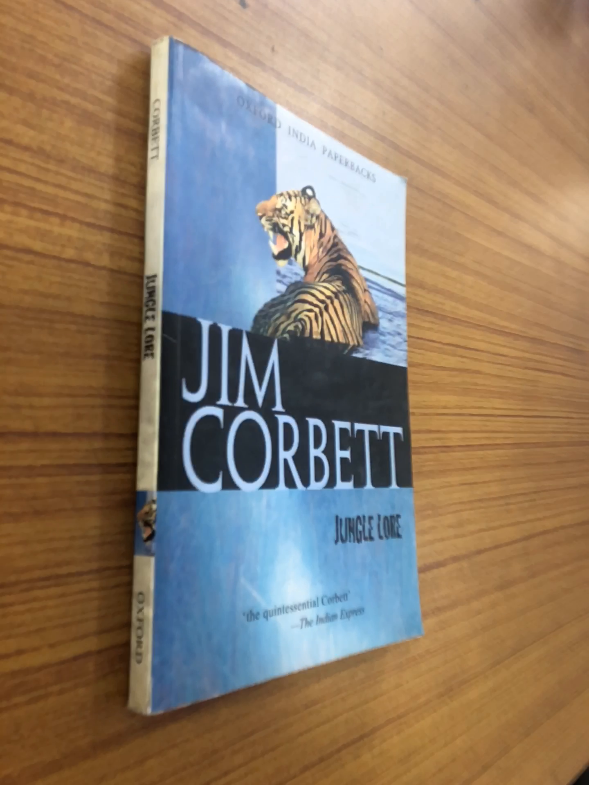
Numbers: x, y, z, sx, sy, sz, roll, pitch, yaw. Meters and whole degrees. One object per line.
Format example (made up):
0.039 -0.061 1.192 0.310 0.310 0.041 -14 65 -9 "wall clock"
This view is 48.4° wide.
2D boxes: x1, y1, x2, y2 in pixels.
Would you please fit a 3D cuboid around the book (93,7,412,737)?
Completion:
-0.003 -0.006 0.253 0.151 0.010 0.220 8 79 -47 "book"
